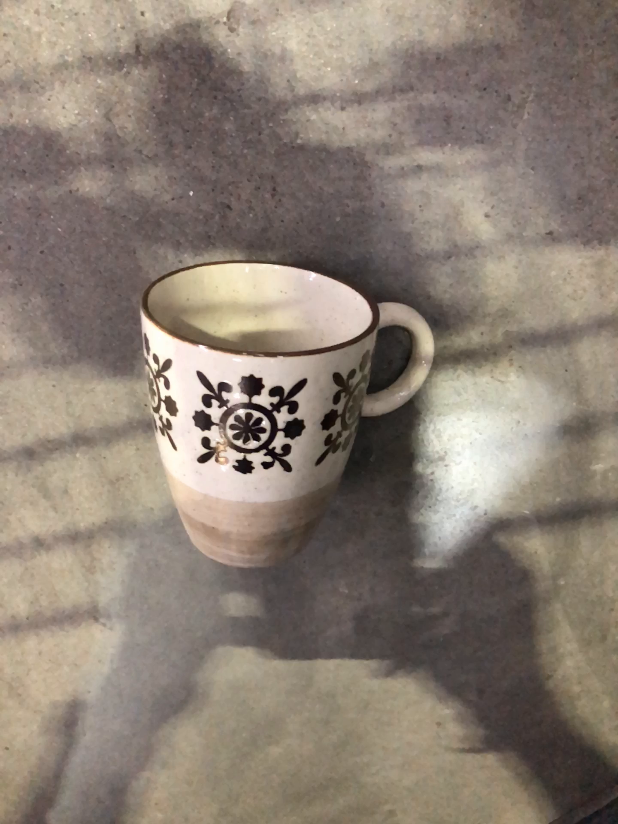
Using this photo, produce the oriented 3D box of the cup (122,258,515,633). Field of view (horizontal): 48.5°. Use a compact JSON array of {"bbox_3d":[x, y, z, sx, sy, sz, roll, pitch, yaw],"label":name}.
[{"bbox_3d":[-0.004,0.005,0.230,0.100,0.070,0.090,-7,123,-22],"label":"cup"}]
